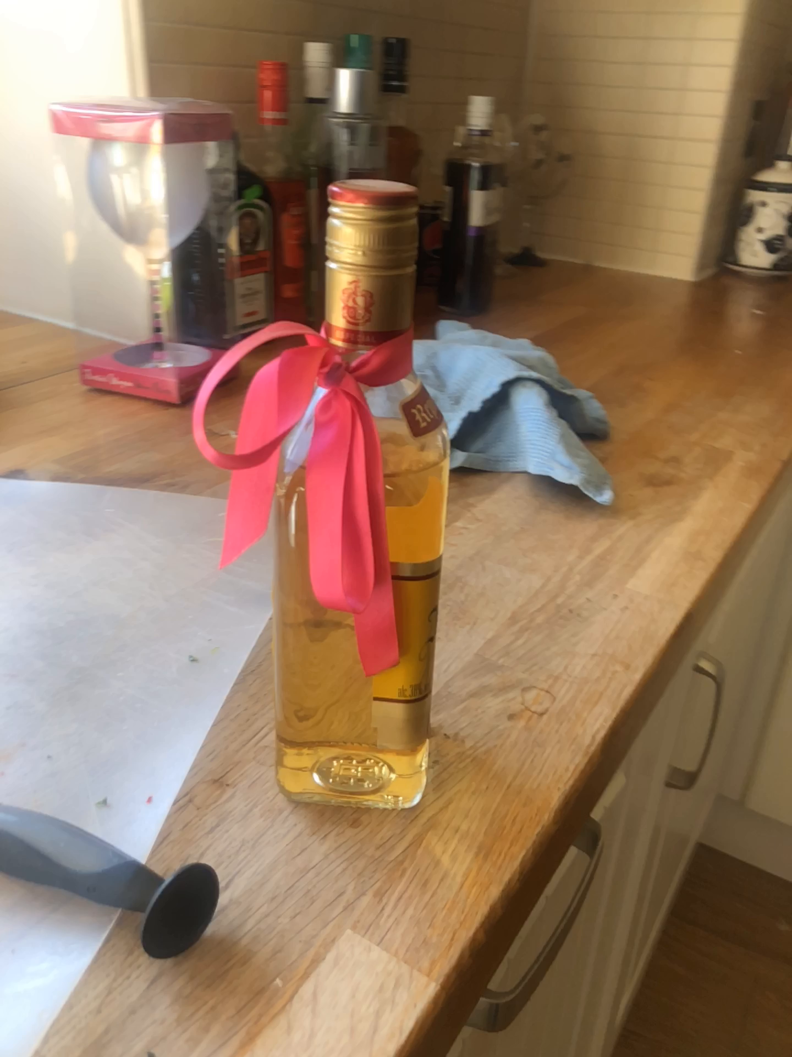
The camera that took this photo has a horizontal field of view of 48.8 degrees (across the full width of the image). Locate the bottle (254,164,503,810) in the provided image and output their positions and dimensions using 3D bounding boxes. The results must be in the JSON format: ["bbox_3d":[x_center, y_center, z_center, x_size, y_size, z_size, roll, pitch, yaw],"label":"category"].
[{"bbox_3d":[-0.009,-0.010,0.332,0.070,0.228,0.081,2,26,-1],"label":"bottle"}]
